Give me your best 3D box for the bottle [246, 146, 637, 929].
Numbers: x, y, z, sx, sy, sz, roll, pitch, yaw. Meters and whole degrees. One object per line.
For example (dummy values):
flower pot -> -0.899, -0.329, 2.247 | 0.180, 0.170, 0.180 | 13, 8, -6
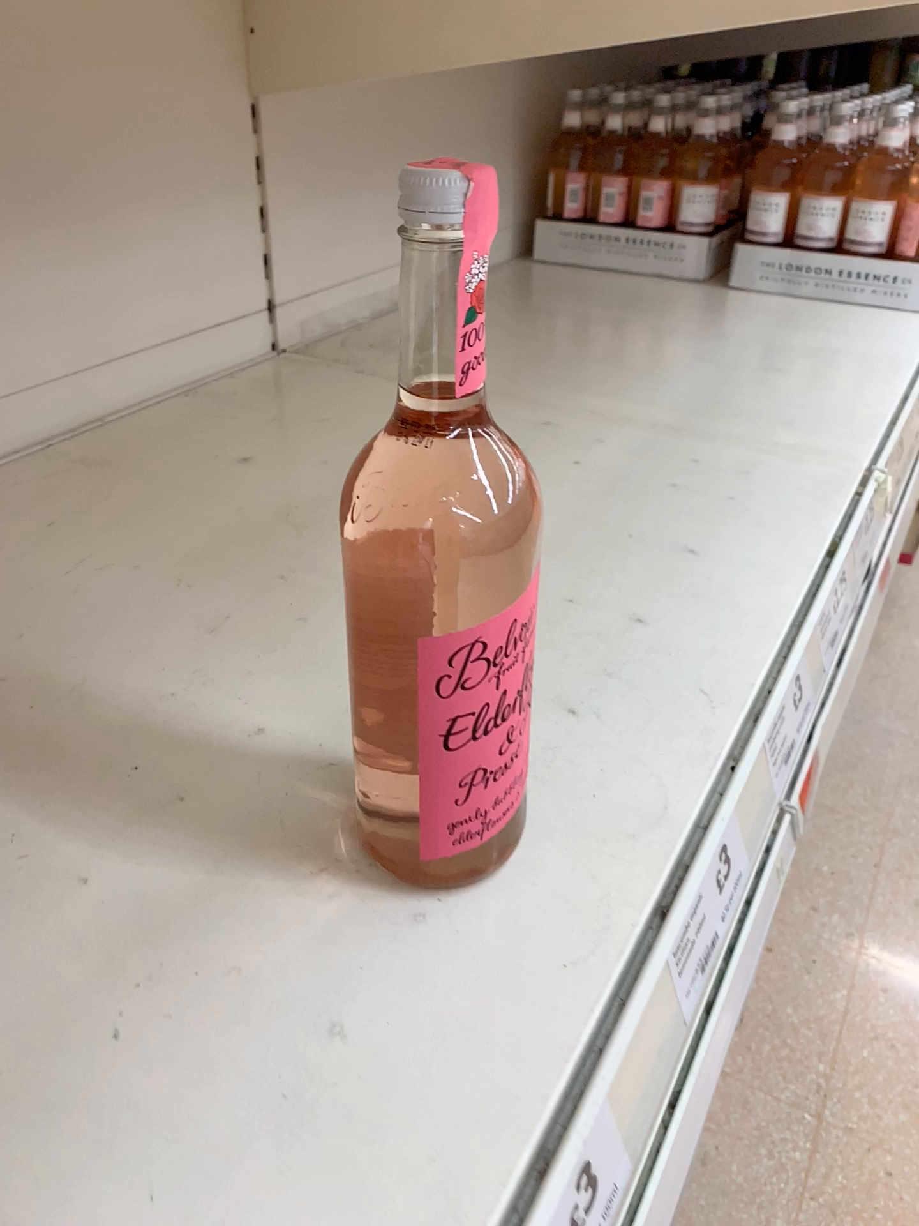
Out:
bottle -> -0.007, -0.022, 0.365 | 0.086, 0.274, 0.087 | 1, 31, 0
